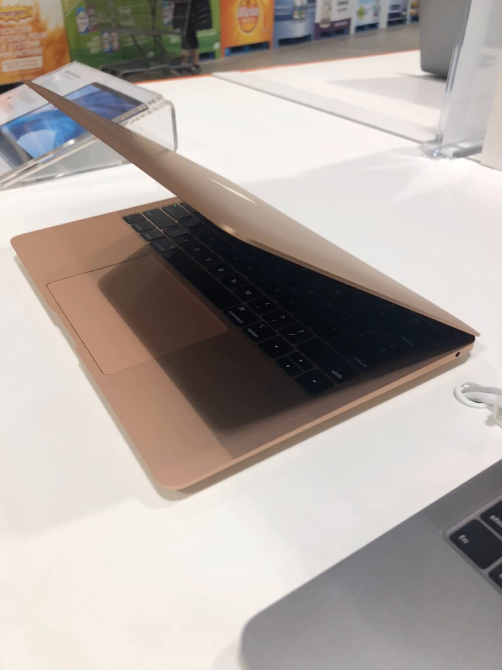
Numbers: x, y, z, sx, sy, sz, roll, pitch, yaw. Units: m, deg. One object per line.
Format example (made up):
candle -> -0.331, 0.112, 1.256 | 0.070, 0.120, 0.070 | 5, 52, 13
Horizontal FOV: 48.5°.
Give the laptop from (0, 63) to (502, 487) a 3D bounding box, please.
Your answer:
laptop -> -0.031, -0.082, 0.360 | 0.199, 0.106, 0.297 | -21, 40, -25
